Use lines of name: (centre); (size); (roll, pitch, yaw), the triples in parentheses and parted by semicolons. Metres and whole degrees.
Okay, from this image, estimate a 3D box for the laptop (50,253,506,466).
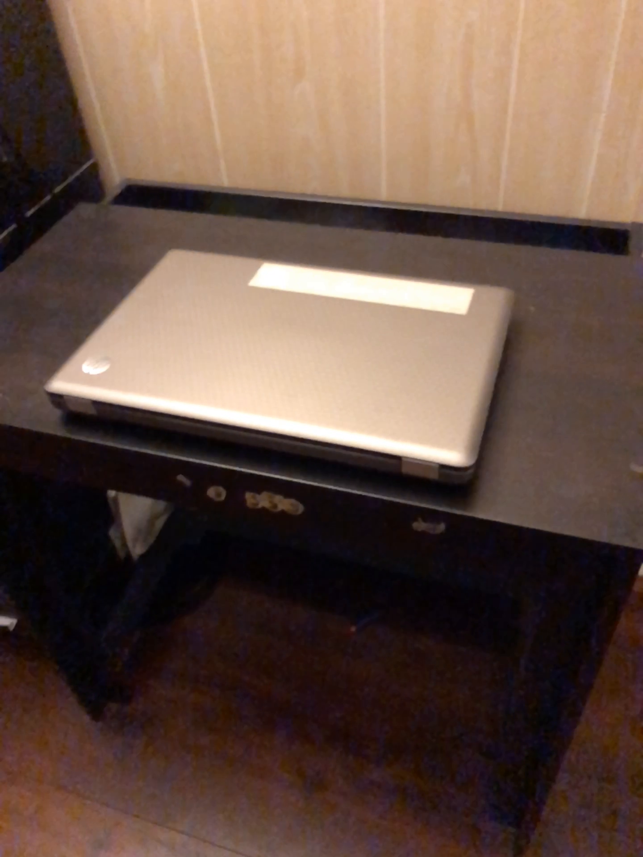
laptop: (-0.031, -0.082, 0.651); (0.357, 0.001, 0.238); (10, 46, 16)
